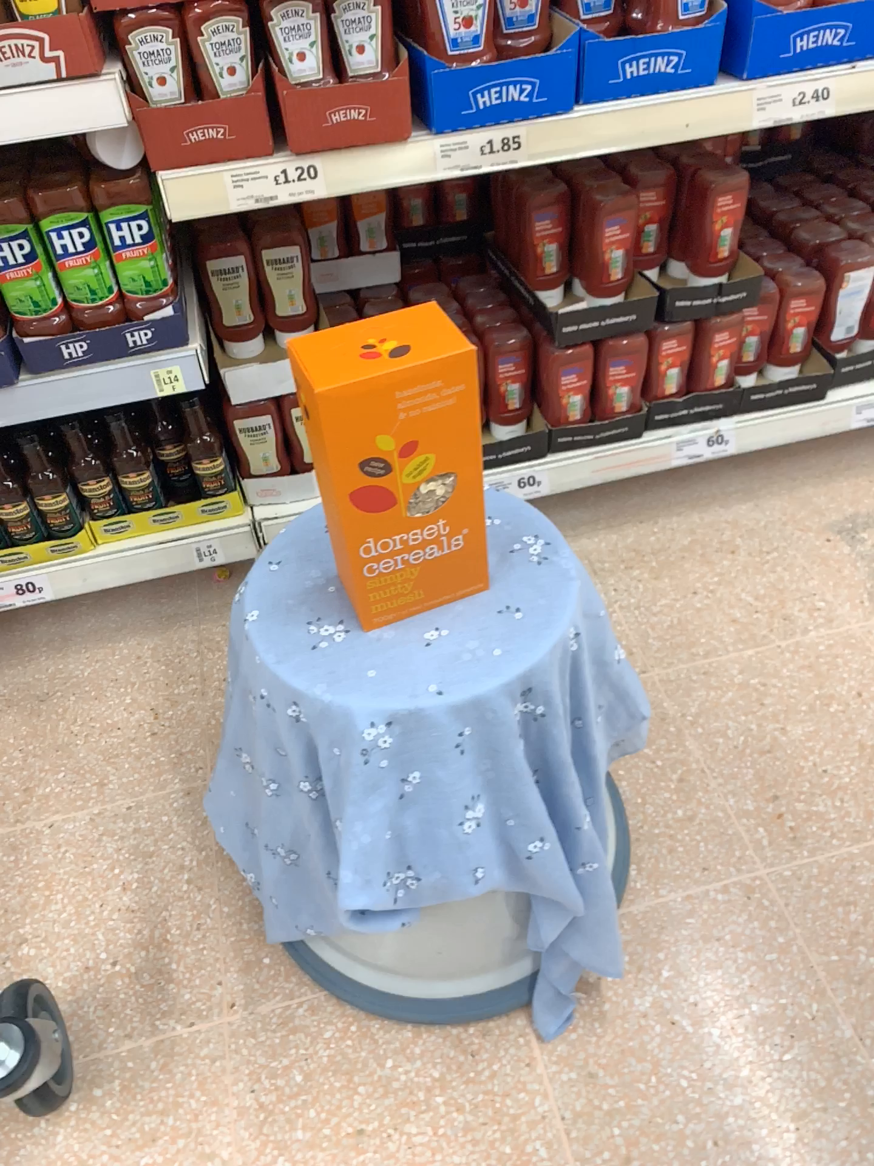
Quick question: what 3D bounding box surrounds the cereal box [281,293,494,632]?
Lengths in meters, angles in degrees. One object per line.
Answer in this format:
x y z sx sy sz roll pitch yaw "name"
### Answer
-0.032 -0.089 0.708 0.120 0.228 0.091 -19 45 -14 "cereal box"
